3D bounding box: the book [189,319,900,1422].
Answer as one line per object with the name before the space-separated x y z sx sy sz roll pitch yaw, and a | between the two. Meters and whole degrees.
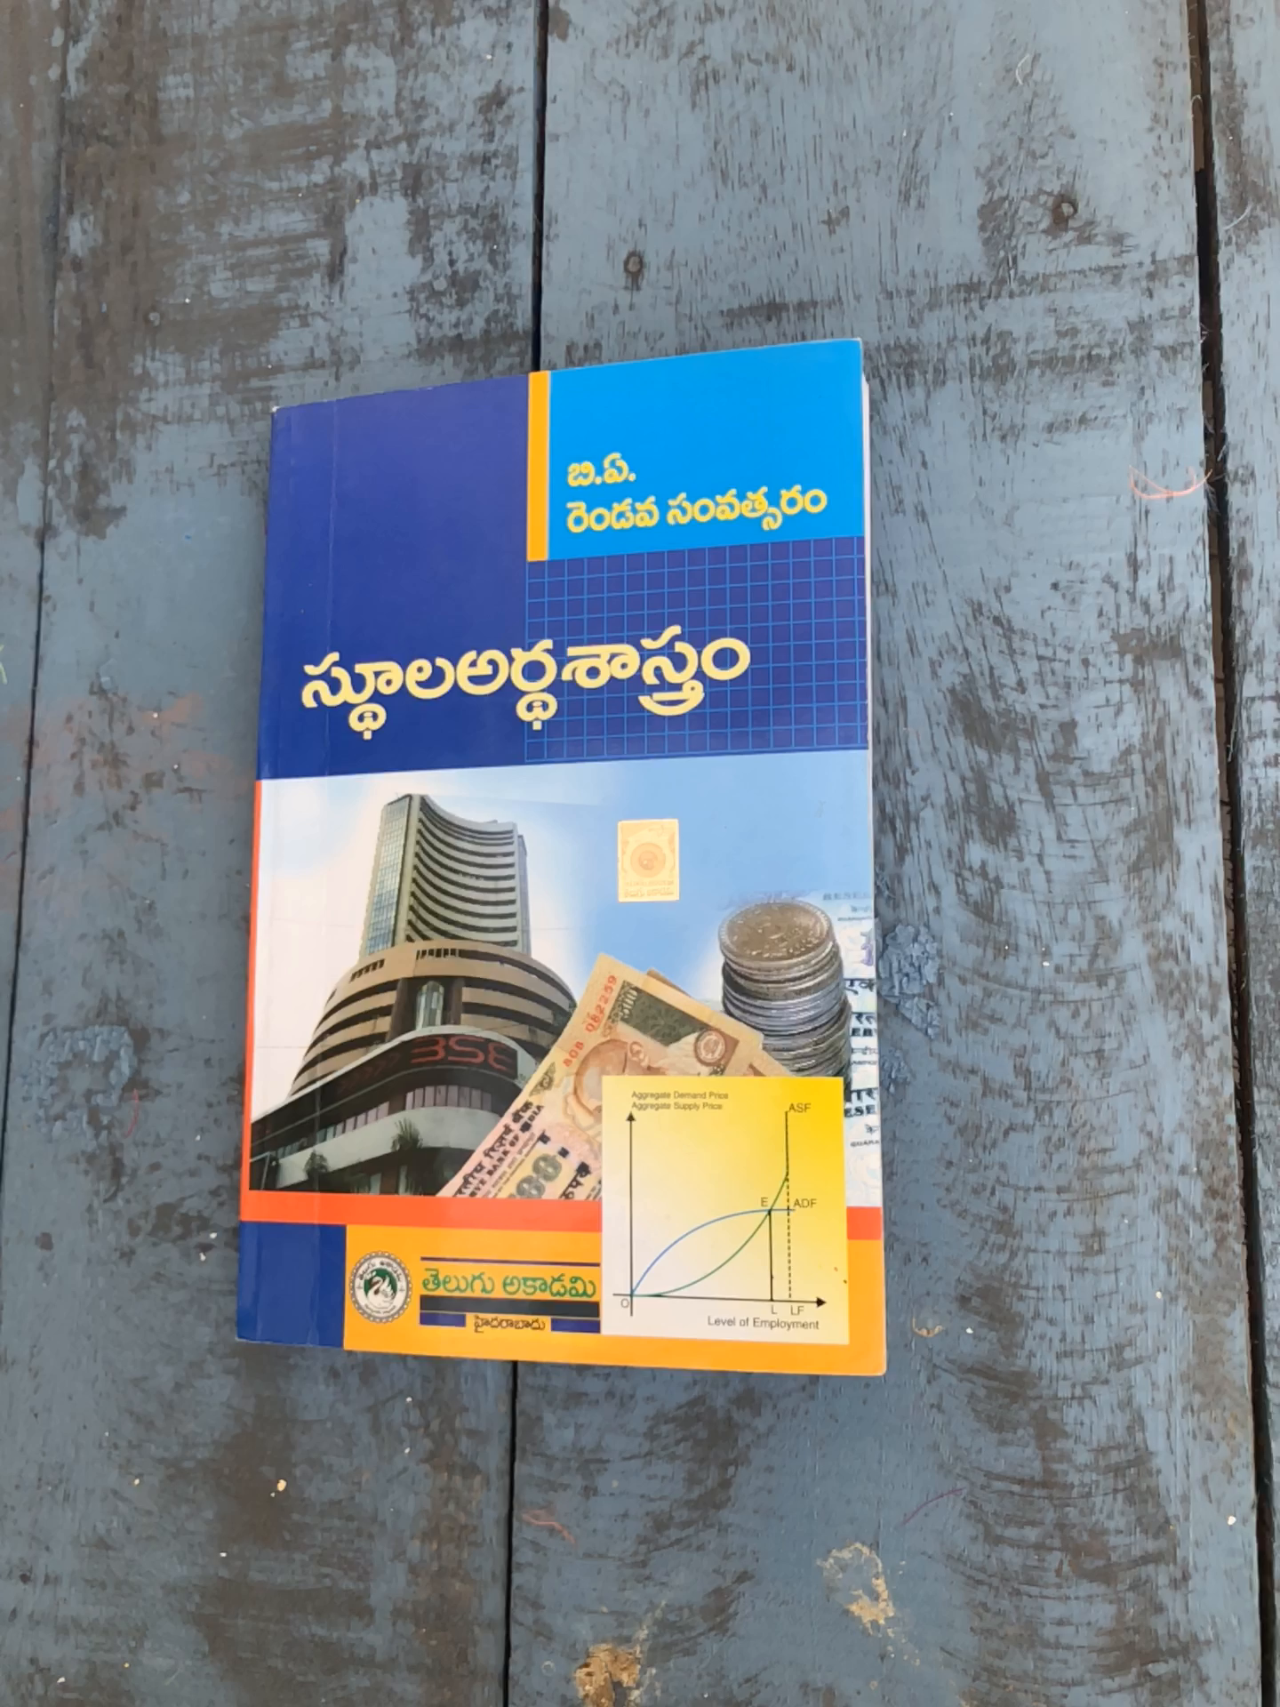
book | -0.025 0.003 0.355 0.170 0.030 0.250 -1 85 13
